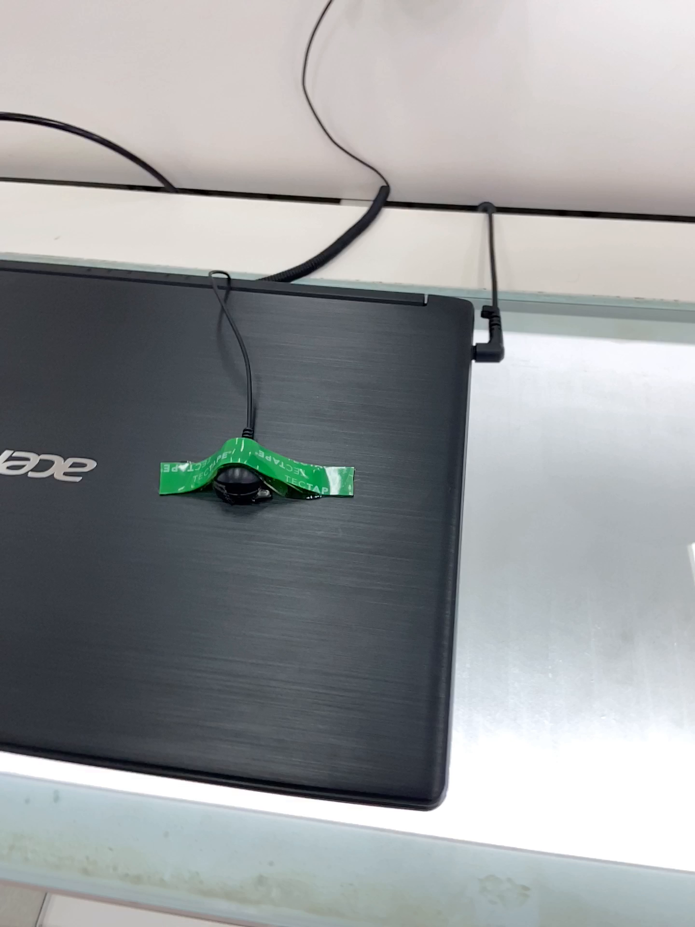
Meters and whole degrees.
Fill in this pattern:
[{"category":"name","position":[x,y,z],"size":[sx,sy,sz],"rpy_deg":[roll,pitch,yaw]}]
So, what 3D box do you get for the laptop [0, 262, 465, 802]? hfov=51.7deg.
[{"category":"laptop","position":[-0.146,-0.004,0.330],"size":[0.386,0.001,0.248],"rpy_deg":[5,53,6]}]
